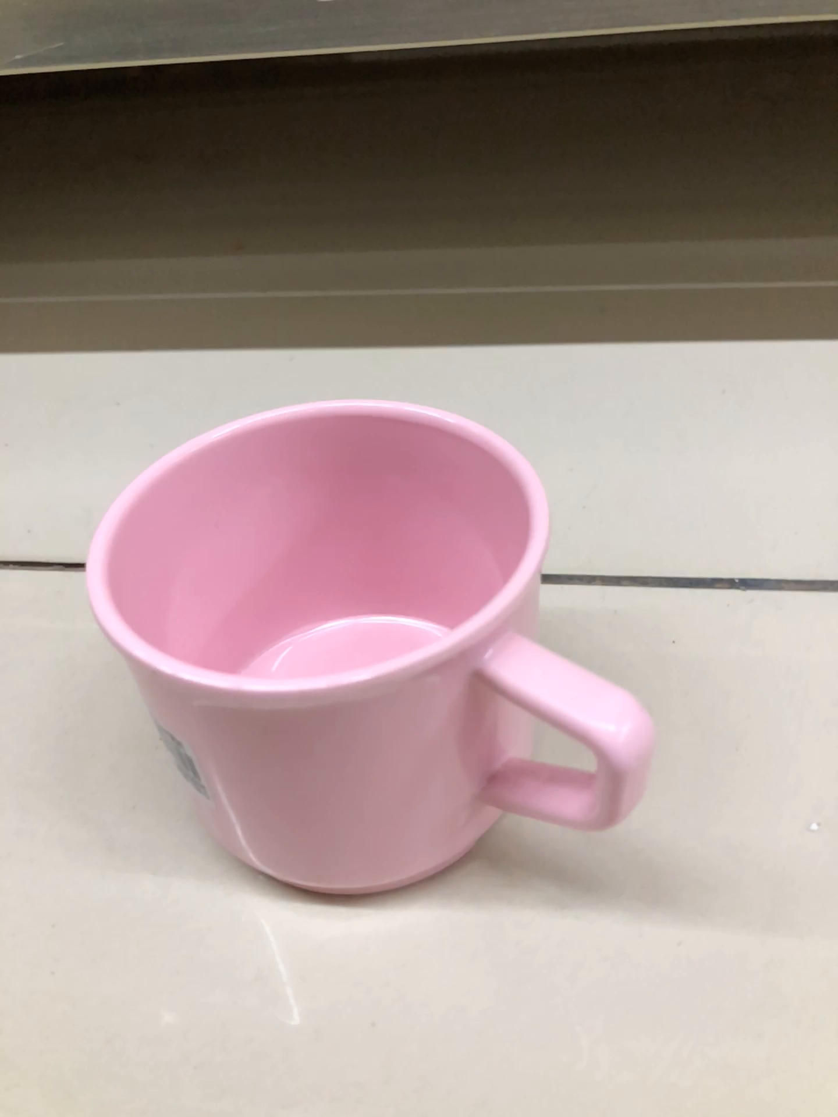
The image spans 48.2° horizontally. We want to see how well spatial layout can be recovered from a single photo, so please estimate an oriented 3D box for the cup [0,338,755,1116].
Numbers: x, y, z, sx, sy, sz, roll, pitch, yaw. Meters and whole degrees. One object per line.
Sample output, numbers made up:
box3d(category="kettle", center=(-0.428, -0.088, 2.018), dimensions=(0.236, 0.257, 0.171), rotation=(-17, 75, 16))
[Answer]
box3d(category="cup", center=(-0.011, 0.023, 0.179), dimensions=(0.110, 0.079, 0.080), rotation=(25, 49, 33))
